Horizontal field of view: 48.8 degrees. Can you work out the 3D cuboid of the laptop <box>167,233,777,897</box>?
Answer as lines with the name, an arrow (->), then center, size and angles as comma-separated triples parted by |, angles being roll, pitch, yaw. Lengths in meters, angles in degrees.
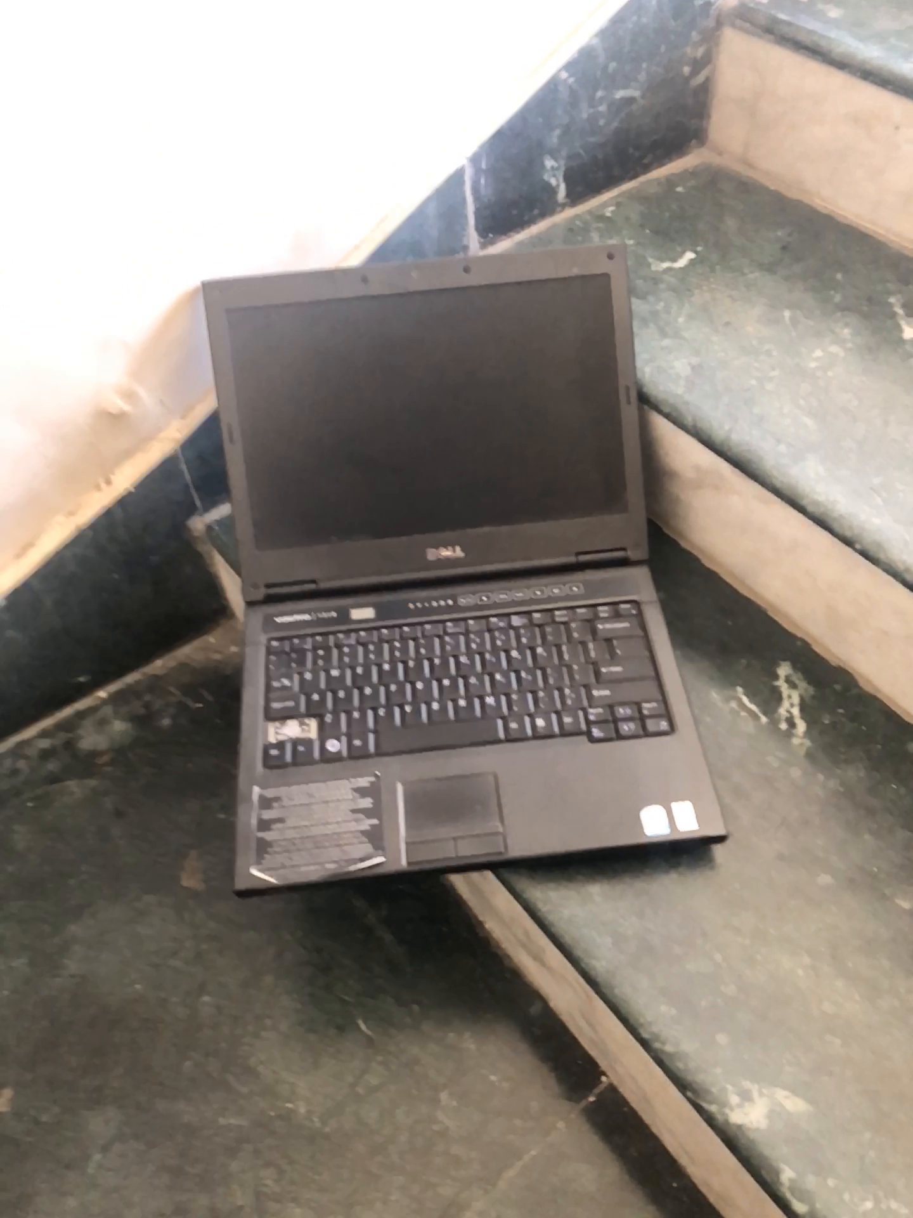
laptop -> -0.007, -0.048, 0.674 | 0.301, 0.169, 0.388 | -5, 53, -2
